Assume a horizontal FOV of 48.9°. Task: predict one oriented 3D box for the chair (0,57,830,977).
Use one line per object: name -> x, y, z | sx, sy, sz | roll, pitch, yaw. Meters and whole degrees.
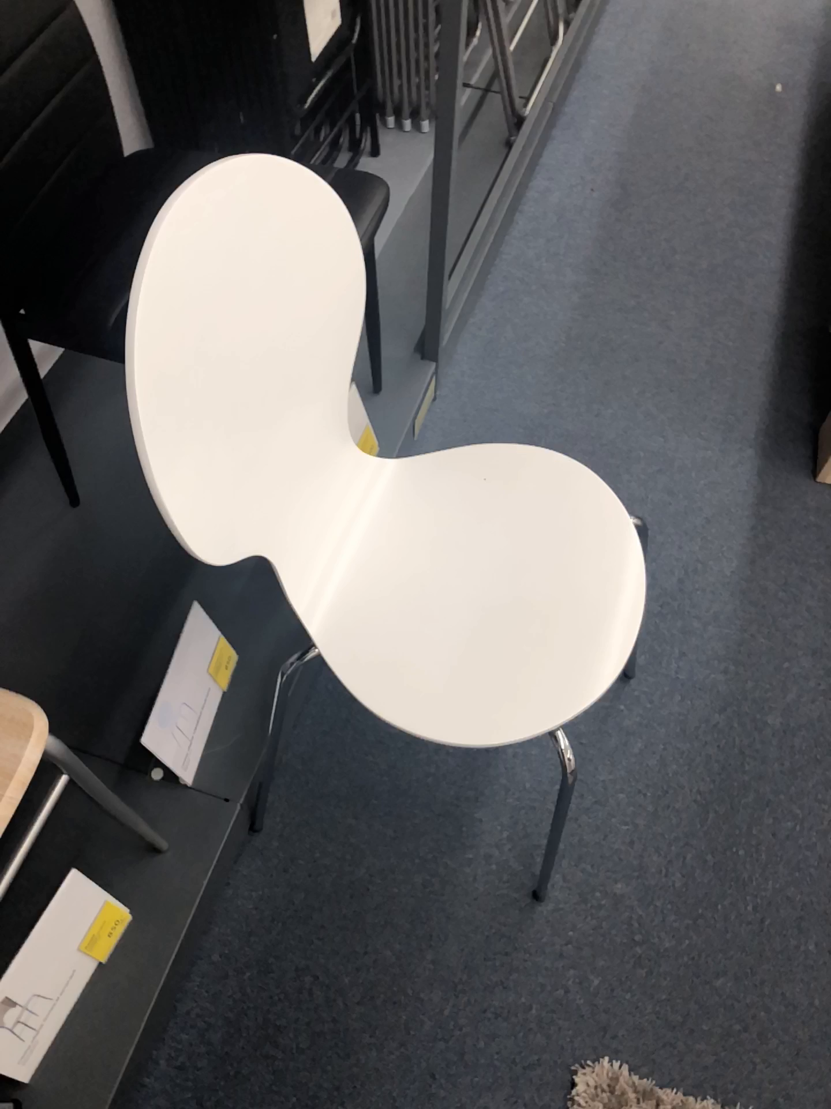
chair -> -0.004, 0.020, 1.107 | 0.640, 0.818, 0.561 | 21, 58, 12
